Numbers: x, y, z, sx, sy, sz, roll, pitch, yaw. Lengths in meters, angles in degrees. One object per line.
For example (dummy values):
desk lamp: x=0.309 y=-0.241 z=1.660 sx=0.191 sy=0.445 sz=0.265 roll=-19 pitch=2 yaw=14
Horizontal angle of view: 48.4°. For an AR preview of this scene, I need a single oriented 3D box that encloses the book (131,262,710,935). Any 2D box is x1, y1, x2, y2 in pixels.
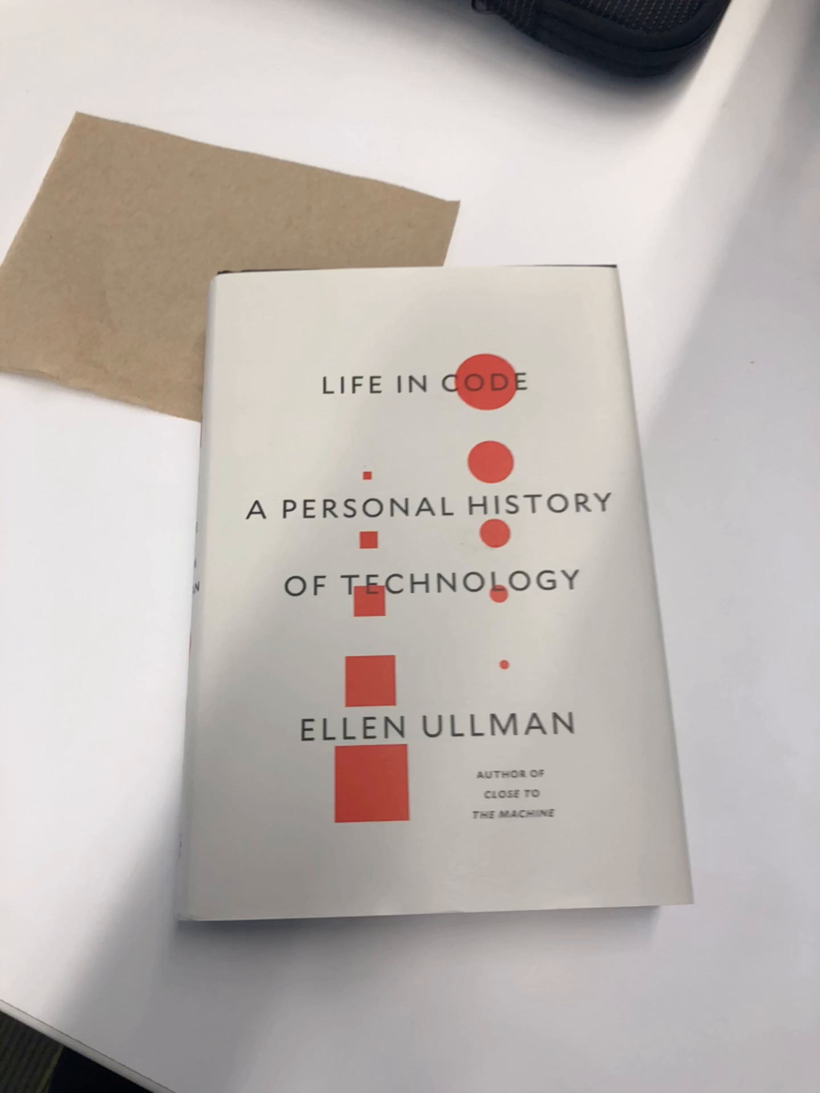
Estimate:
book: x=0.002 y=0.007 z=0.304 sx=0.160 sy=0.030 sz=0.220 roll=-1 pitch=70 yaw=-1
